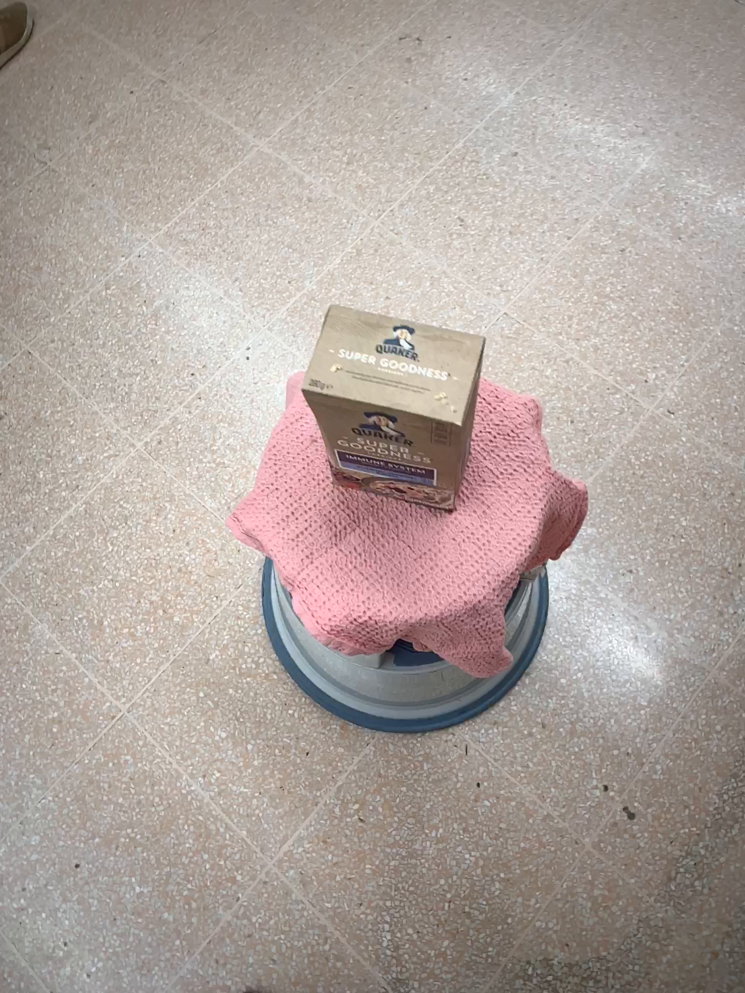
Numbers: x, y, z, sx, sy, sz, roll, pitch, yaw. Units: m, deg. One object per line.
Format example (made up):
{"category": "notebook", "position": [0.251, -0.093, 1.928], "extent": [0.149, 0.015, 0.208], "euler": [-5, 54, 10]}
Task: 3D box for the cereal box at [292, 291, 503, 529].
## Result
{"category": "cereal box", "position": [0.027, -0.067, 0.682], "extent": [0.140, 0.209, 0.100], "euler": [14, 71, 9]}
